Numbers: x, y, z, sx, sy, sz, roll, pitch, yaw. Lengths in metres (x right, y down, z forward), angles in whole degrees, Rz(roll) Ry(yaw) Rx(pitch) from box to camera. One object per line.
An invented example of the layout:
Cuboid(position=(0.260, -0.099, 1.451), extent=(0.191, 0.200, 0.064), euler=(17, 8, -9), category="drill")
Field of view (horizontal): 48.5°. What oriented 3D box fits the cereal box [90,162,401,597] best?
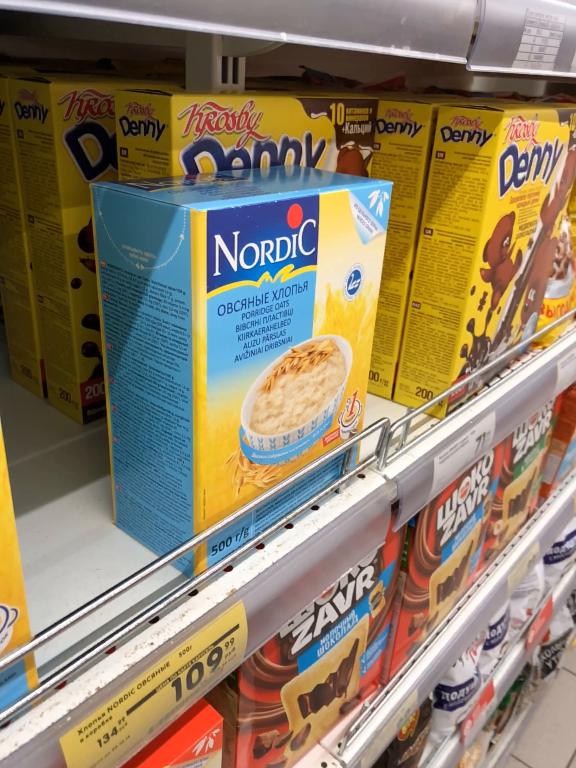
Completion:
Cuboid(position=(-0.019, -0.013, 0.362), extent=(0.070, 0.199, 0.151), euler=(23, 32, 35), category="cereal box")
